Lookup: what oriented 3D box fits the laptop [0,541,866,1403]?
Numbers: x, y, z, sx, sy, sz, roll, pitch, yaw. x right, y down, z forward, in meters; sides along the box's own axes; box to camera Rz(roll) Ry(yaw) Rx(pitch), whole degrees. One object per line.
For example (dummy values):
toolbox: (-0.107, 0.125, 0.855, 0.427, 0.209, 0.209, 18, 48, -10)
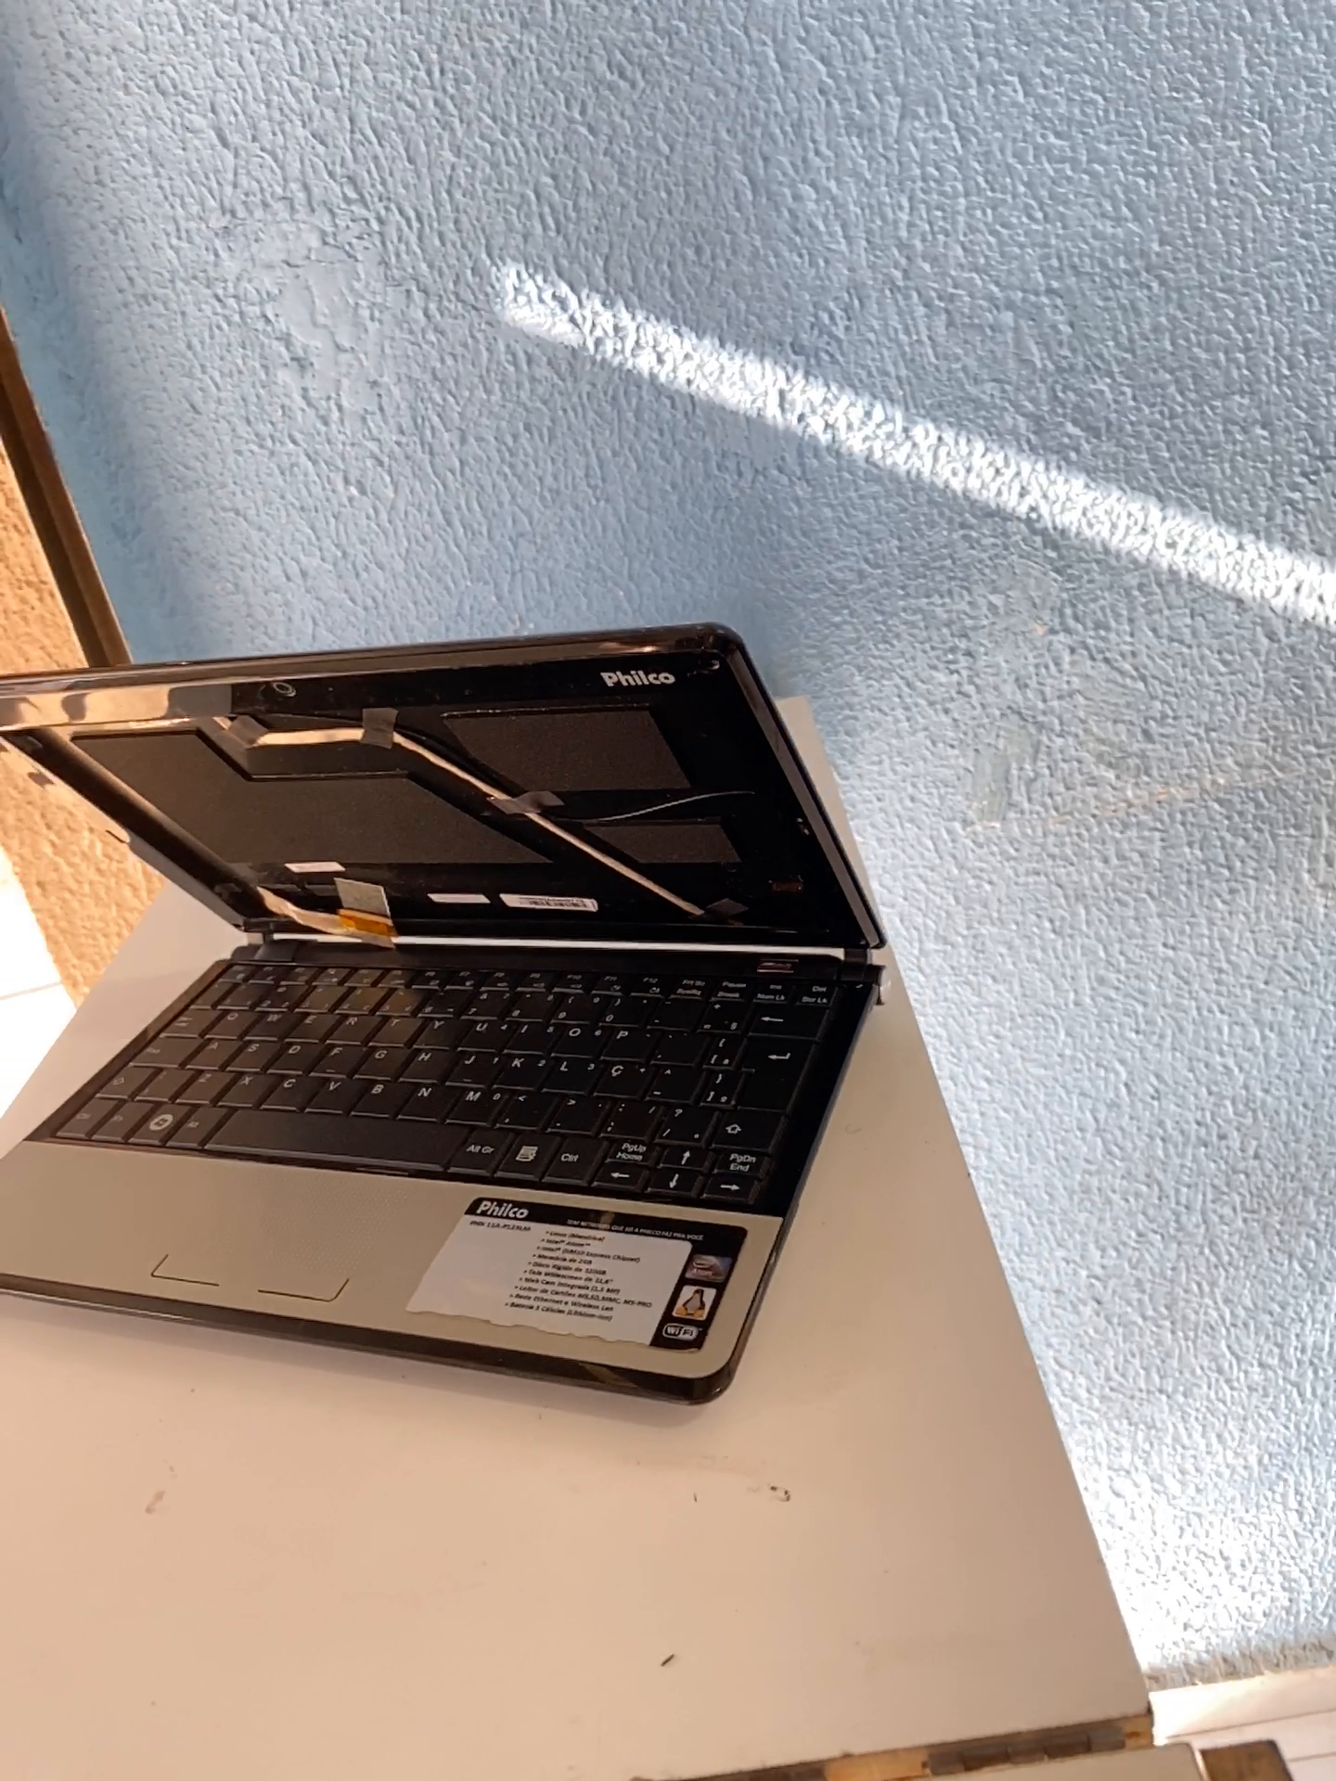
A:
laptop: (-0.102, 0.010, 0.418, 0.275, 0.144, 0.177, -1, 30, 24)
